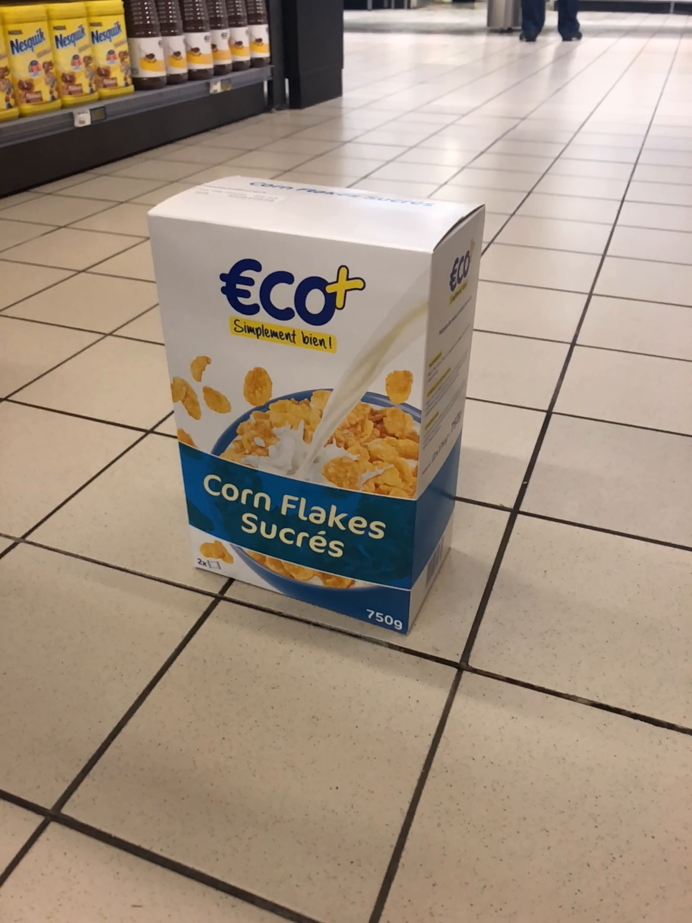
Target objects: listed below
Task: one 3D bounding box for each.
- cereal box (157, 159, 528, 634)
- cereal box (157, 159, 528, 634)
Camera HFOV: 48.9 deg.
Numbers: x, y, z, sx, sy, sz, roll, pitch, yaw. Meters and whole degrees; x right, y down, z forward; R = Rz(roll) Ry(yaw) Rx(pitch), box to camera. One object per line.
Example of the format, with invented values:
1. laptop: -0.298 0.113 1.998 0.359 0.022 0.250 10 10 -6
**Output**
1. cereal box: 0.000 -0.053 0.578 0.210 0.298 0.131 13 33 20
2. cereal box: 0.000 -0.053 0.578 0.210 0.298 0.131 13 33 20
